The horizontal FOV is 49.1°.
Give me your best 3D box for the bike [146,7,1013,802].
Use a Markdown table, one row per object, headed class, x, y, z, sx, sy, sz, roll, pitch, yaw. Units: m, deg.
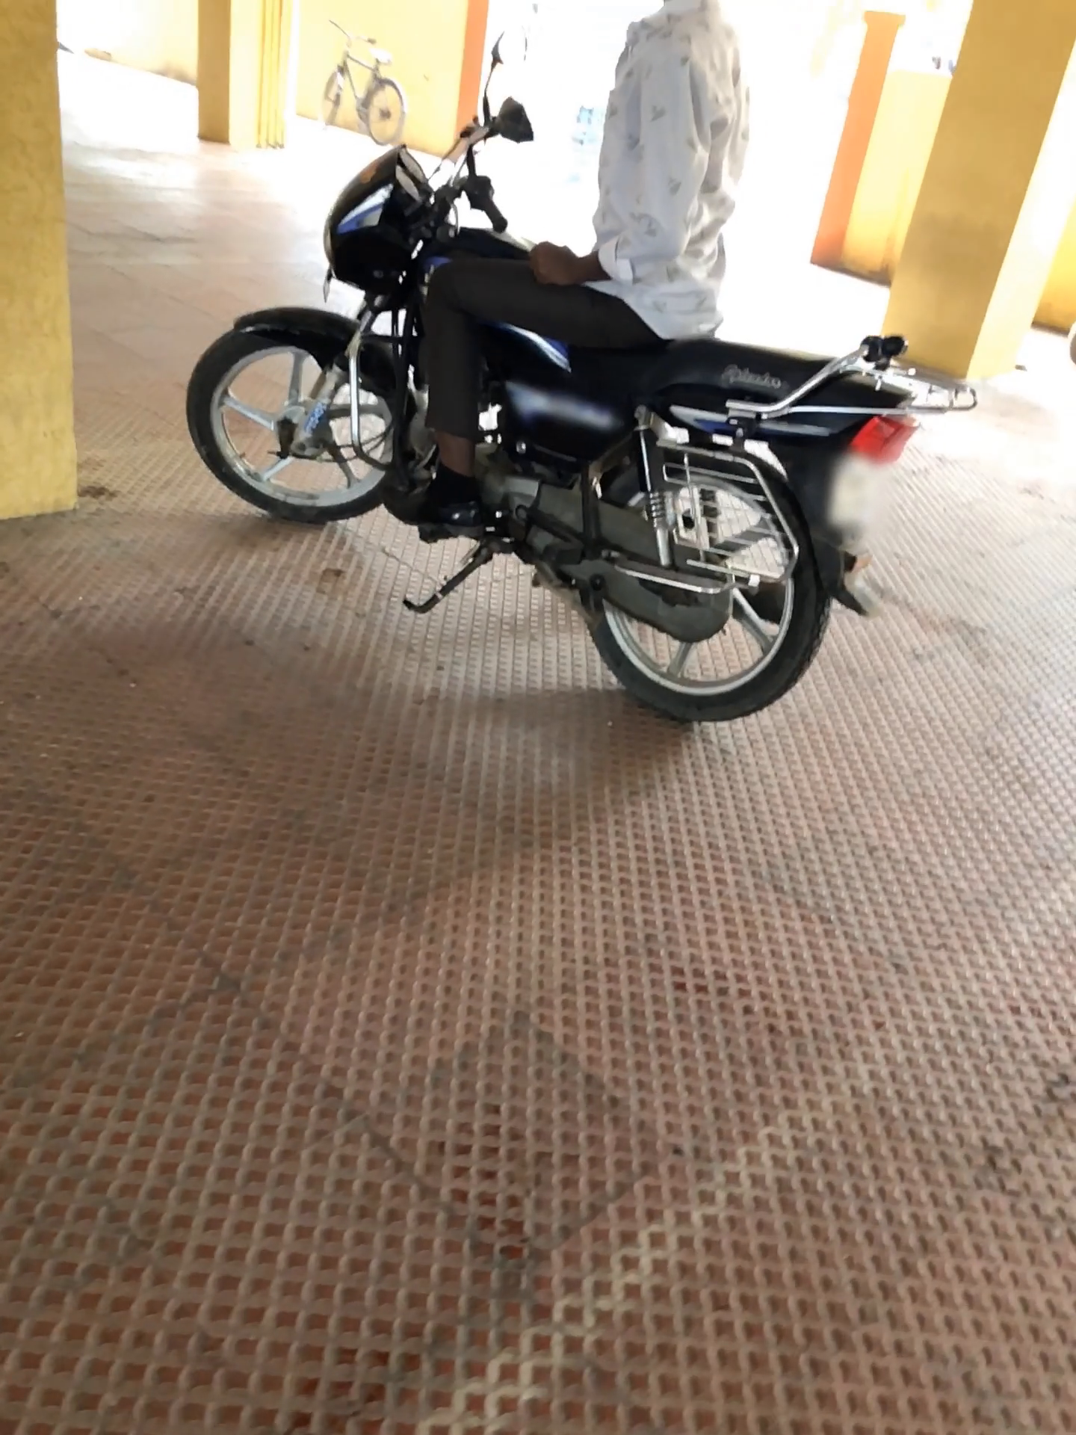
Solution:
| class | x | y | z | sx | sy | sz | roll | pitch | yaw |
| --- | --- | --- | --- | --- | --- | --- | --- | --- | --- |
| bike | -0.013 | -0.784 | 2.697 | 1.706 | 1.107 | 0.688 | 26 | 33 | 22 |
